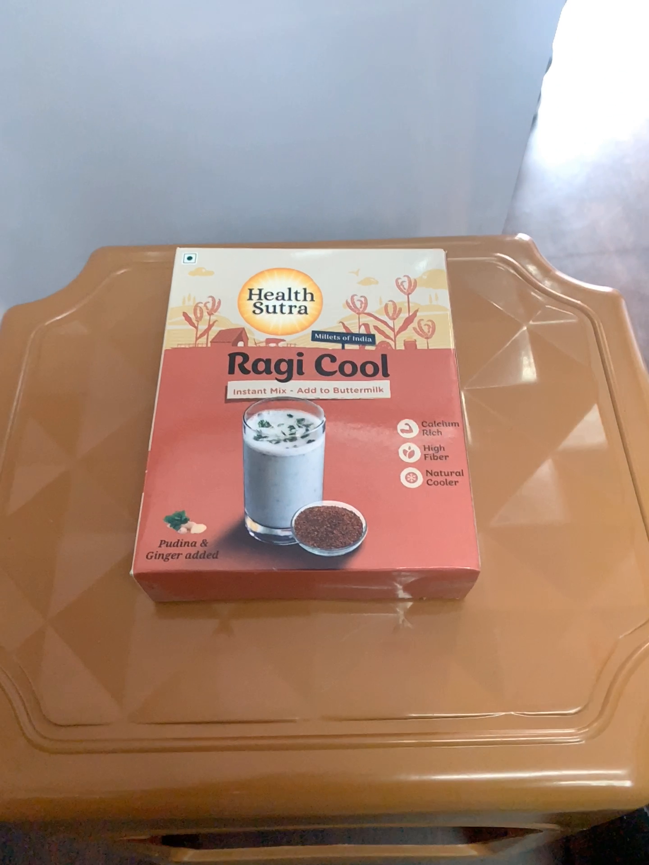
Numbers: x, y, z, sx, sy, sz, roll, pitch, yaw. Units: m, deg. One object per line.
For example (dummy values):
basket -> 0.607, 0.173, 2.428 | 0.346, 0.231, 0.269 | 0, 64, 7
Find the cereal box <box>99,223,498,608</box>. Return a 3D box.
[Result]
cereal box -> -0.009, -0.014, 0.294 | 0.140, 0.040, 0.170 | -1, 61, 1
